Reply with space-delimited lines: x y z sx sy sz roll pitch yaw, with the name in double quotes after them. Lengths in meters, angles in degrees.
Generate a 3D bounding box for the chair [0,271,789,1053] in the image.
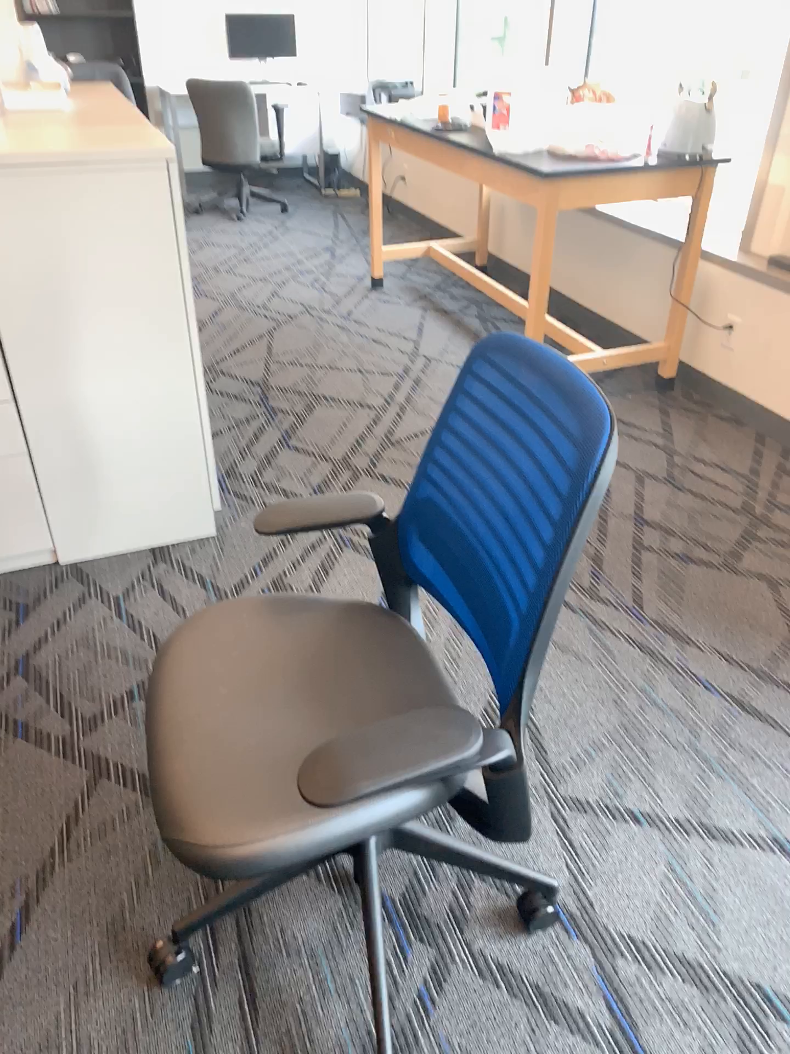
-0.084 0.214 1.123 0.681 0.882 0.706 -11 35 -17 "chair"
